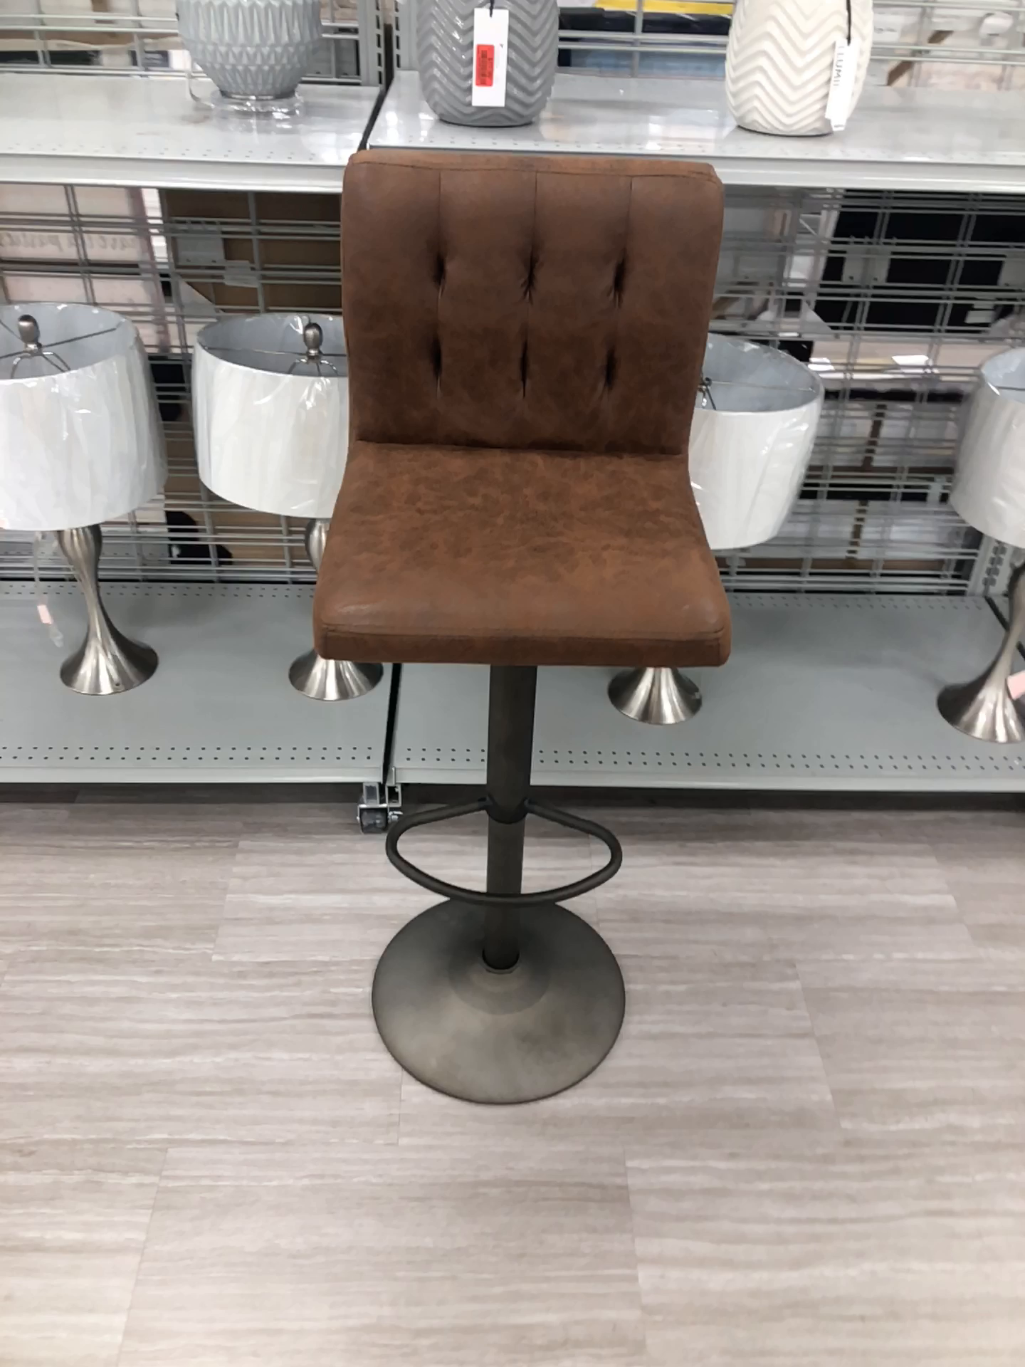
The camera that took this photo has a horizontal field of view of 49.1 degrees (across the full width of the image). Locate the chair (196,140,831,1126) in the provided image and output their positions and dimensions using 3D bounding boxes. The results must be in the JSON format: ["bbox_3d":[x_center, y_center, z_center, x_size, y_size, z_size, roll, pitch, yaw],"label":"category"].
[{"bbox_3d":[-0.014,0.002,1.353,0.474,1.102,0.470,1,36,-1],"label":"chair"}]
